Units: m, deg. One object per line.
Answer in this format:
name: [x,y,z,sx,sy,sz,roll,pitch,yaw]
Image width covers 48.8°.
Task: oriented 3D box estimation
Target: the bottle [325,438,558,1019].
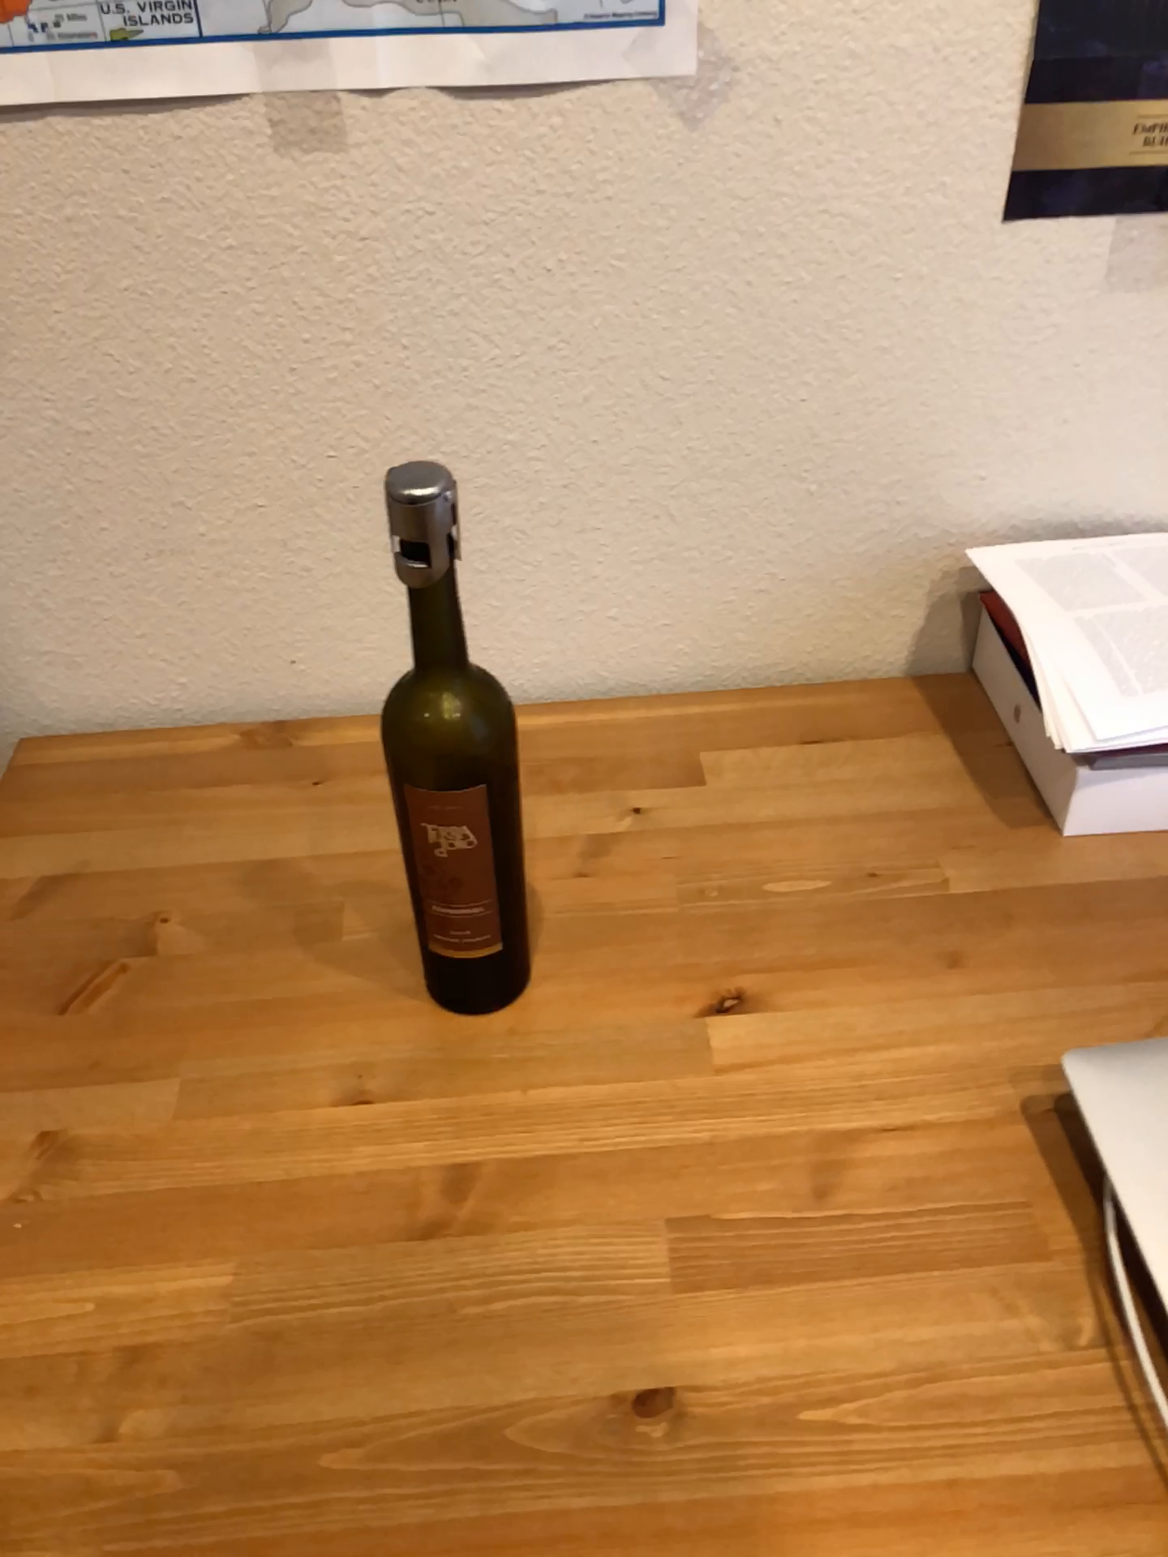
bottle: [-0.070,-0.013,0.742,0.080,0.348,0.080,-2,37,2]
